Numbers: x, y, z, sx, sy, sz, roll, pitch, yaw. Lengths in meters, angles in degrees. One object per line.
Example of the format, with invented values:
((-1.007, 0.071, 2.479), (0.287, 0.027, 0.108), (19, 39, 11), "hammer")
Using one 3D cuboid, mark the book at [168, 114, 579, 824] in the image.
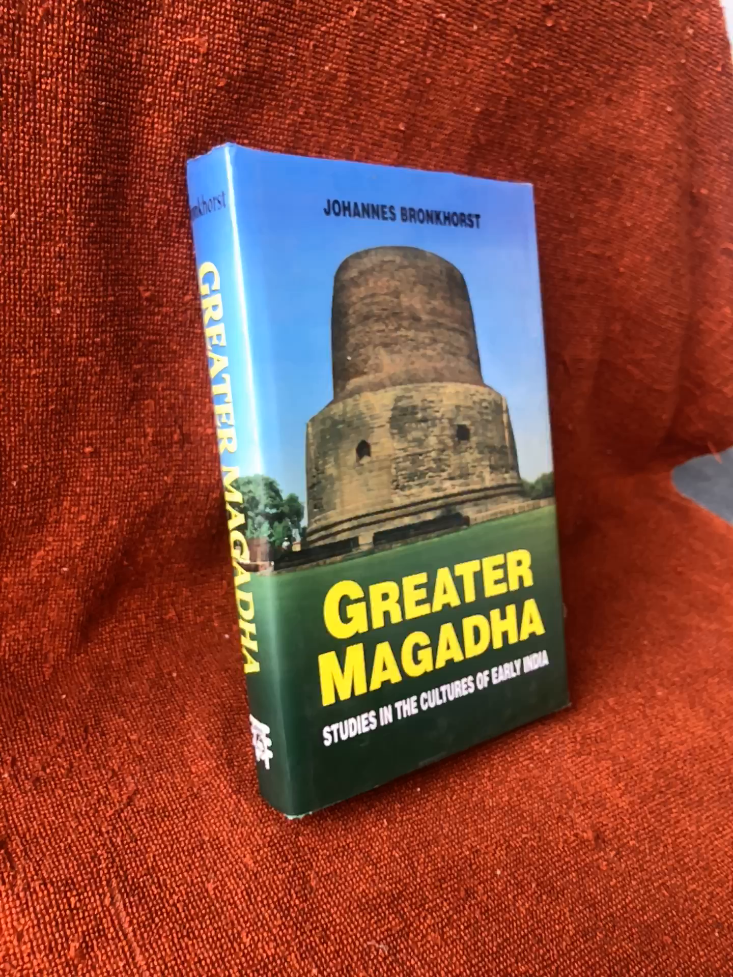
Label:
((0.013, -0.011, 0.308), (0.151, 0.220, 0.030), (-8, 6, -36), "book")
